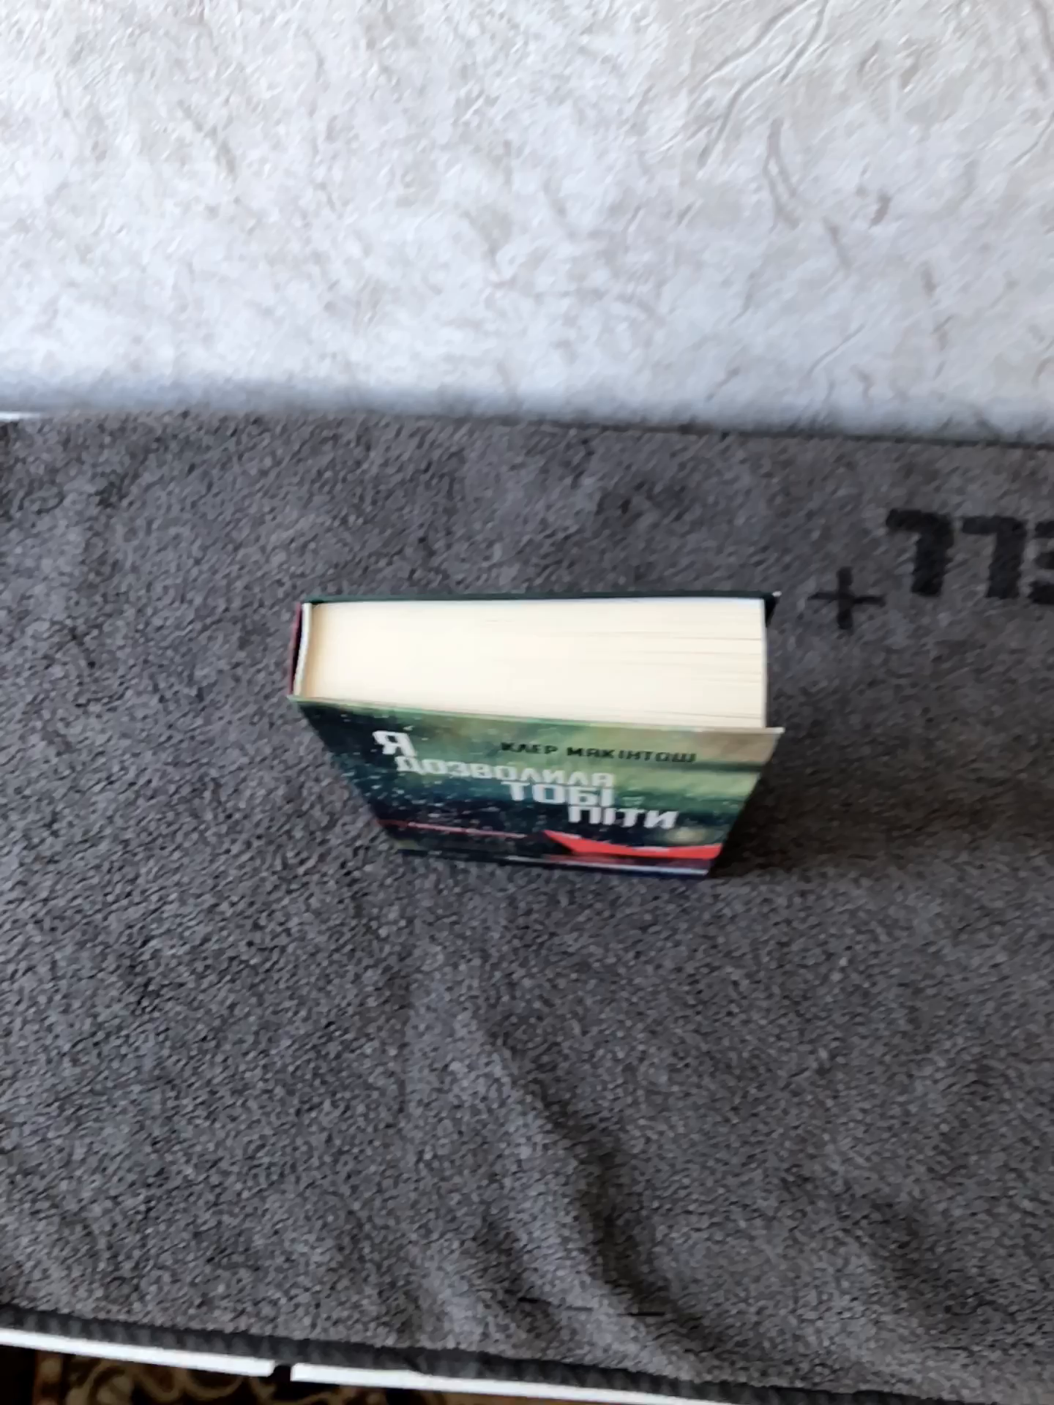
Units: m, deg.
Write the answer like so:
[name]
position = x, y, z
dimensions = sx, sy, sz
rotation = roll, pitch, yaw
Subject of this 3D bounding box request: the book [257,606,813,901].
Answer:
[book]
position = 0.007, 0.028, 0.395
dimensions = 0.139, 0.202, 0.044
rotation = 0, 71, 3
